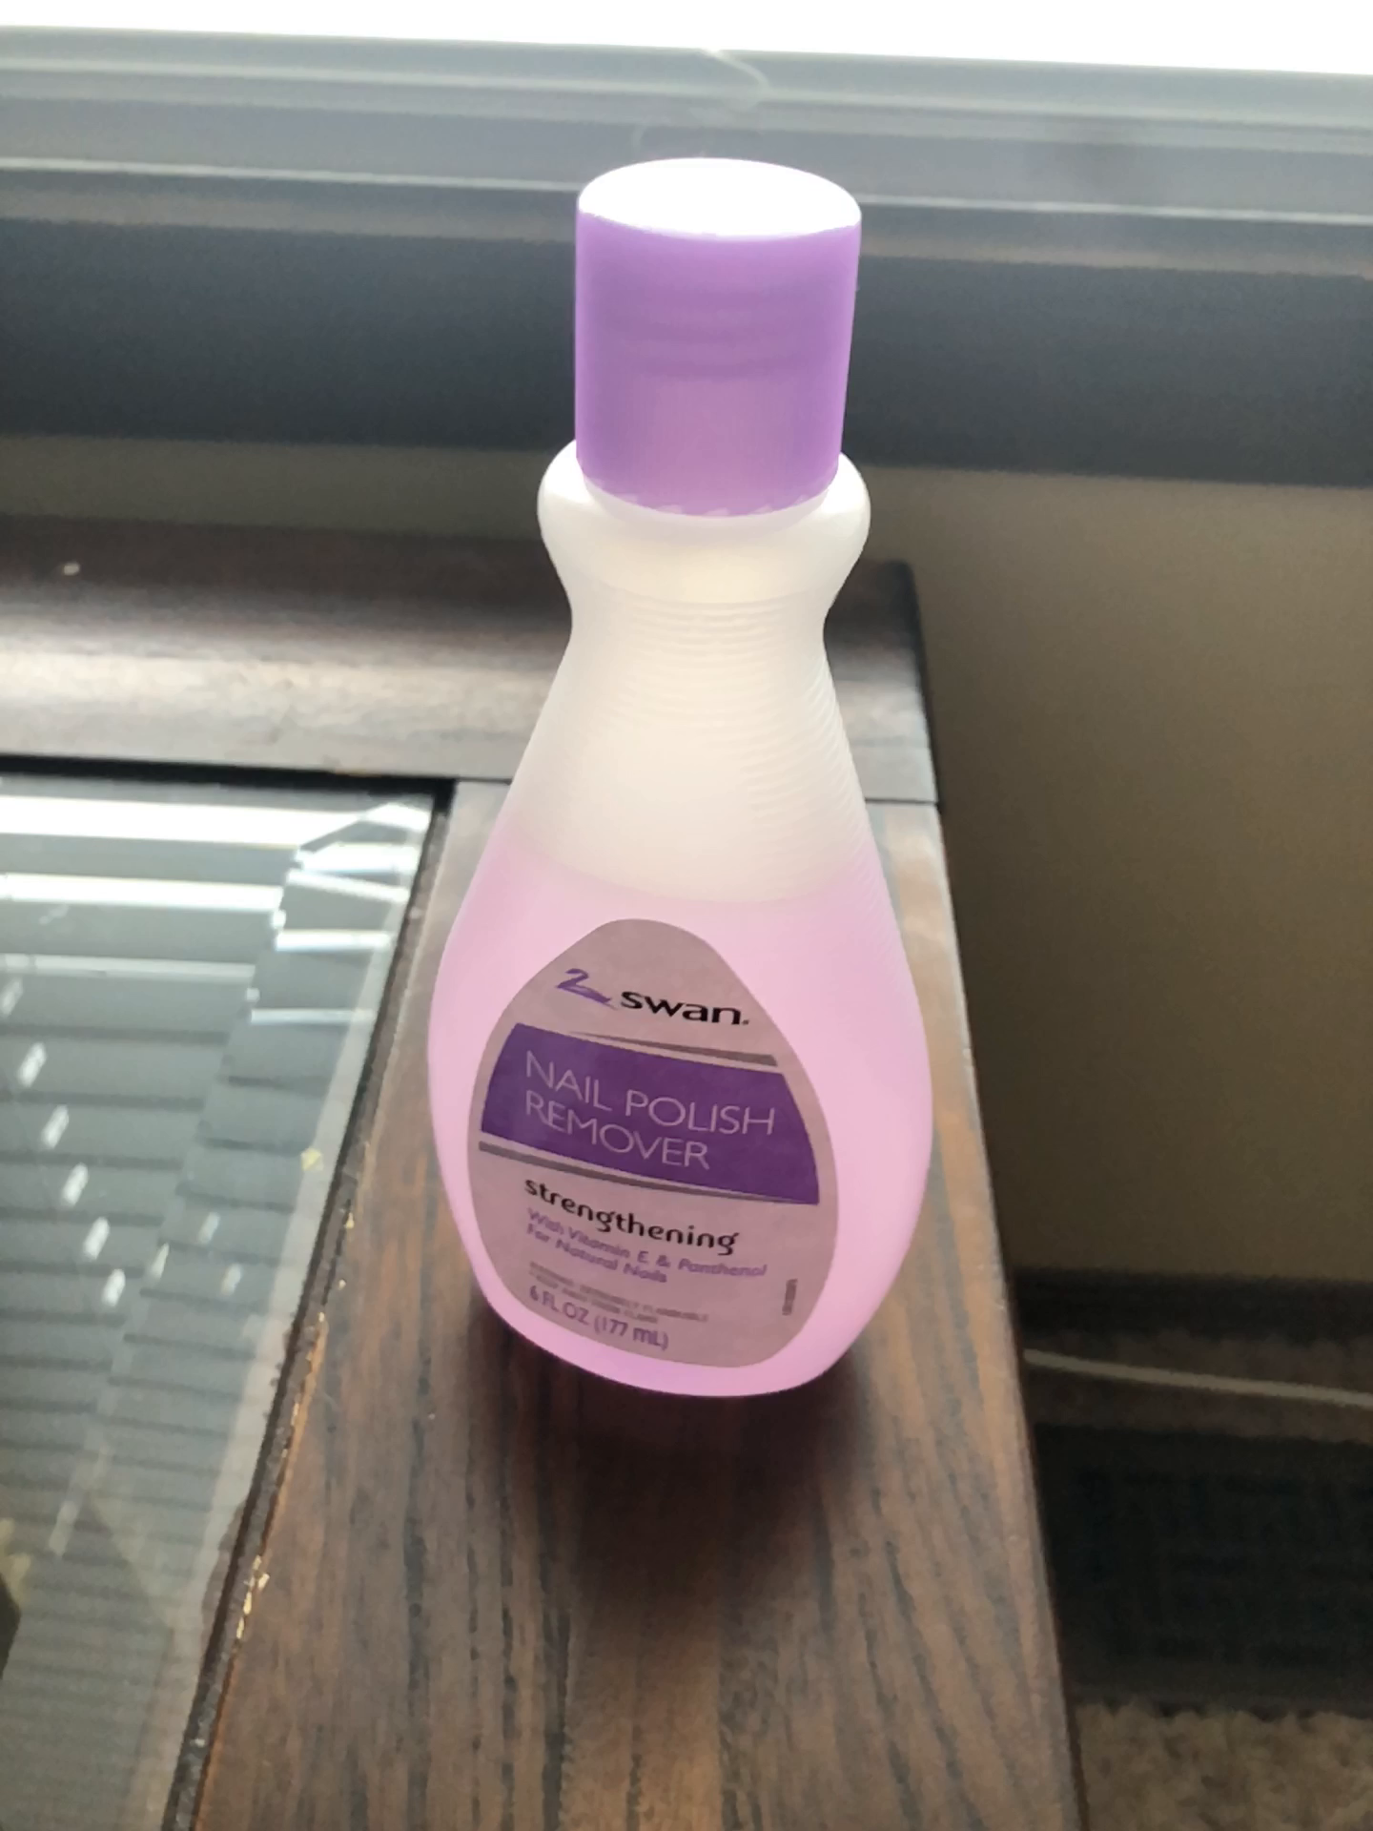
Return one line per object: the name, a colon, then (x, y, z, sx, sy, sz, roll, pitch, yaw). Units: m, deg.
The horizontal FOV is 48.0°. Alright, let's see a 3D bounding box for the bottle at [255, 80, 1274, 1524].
bottle: (0.008, 0.000, 0.192, 0.080, 0.170, 0.050, 12, 42, 12)
